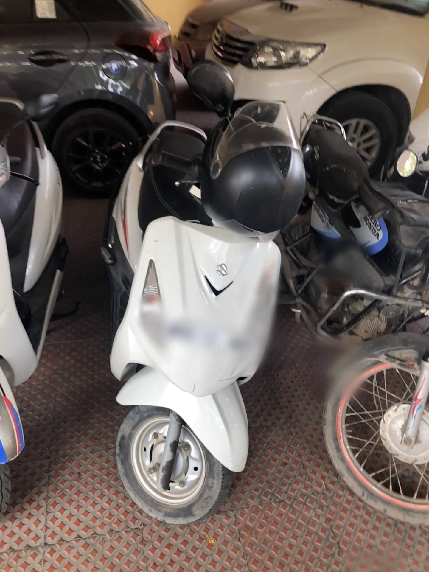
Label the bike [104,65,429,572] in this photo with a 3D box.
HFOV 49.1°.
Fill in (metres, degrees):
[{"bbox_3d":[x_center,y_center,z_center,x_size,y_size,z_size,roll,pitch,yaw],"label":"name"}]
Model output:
[{"bbox_3d":[0.116,-0.024,1.856,0.832,0.940,1.516,-7,46,-16],"label":"bike"}]
